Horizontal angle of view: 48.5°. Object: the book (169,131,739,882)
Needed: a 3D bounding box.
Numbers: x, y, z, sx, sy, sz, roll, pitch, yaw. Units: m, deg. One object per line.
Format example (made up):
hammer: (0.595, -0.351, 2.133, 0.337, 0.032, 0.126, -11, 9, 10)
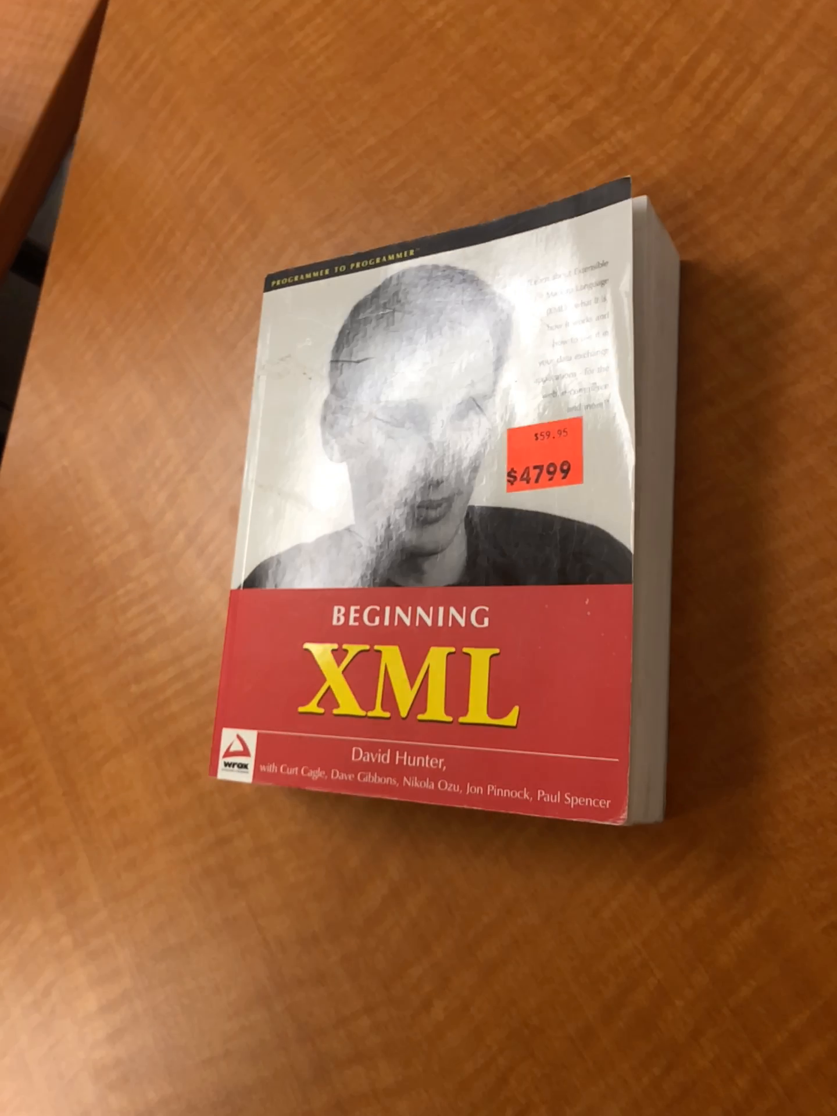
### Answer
book: (0.016, -0.020, 0.407, 0.221, 0.070, 0.270, -1, 78, 29)
